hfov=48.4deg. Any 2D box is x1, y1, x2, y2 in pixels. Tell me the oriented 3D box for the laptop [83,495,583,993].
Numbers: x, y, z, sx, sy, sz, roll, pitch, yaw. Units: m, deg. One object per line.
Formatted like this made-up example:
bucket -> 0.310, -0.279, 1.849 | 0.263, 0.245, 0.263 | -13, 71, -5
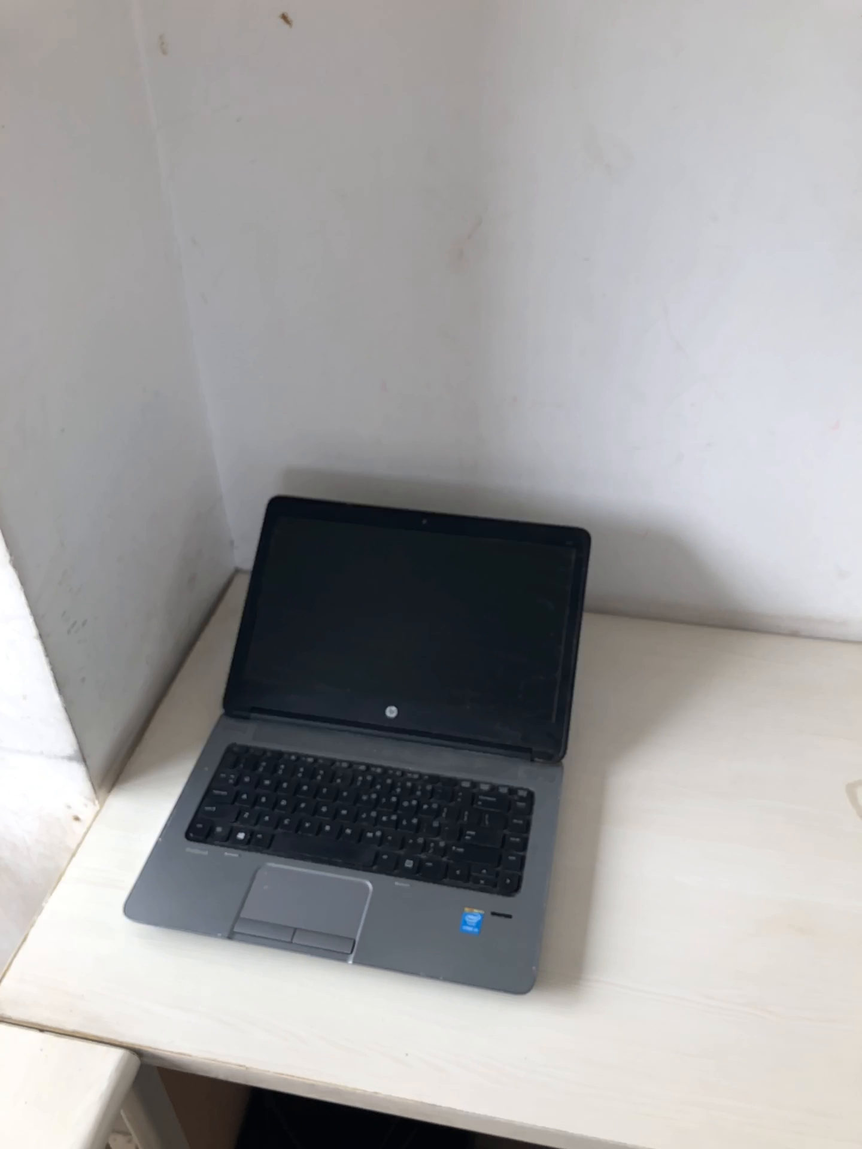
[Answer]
laptop -> -0.049, 0.119, 0.871 | 0.327, 0.137, 0.408 | 8, 40, 9
